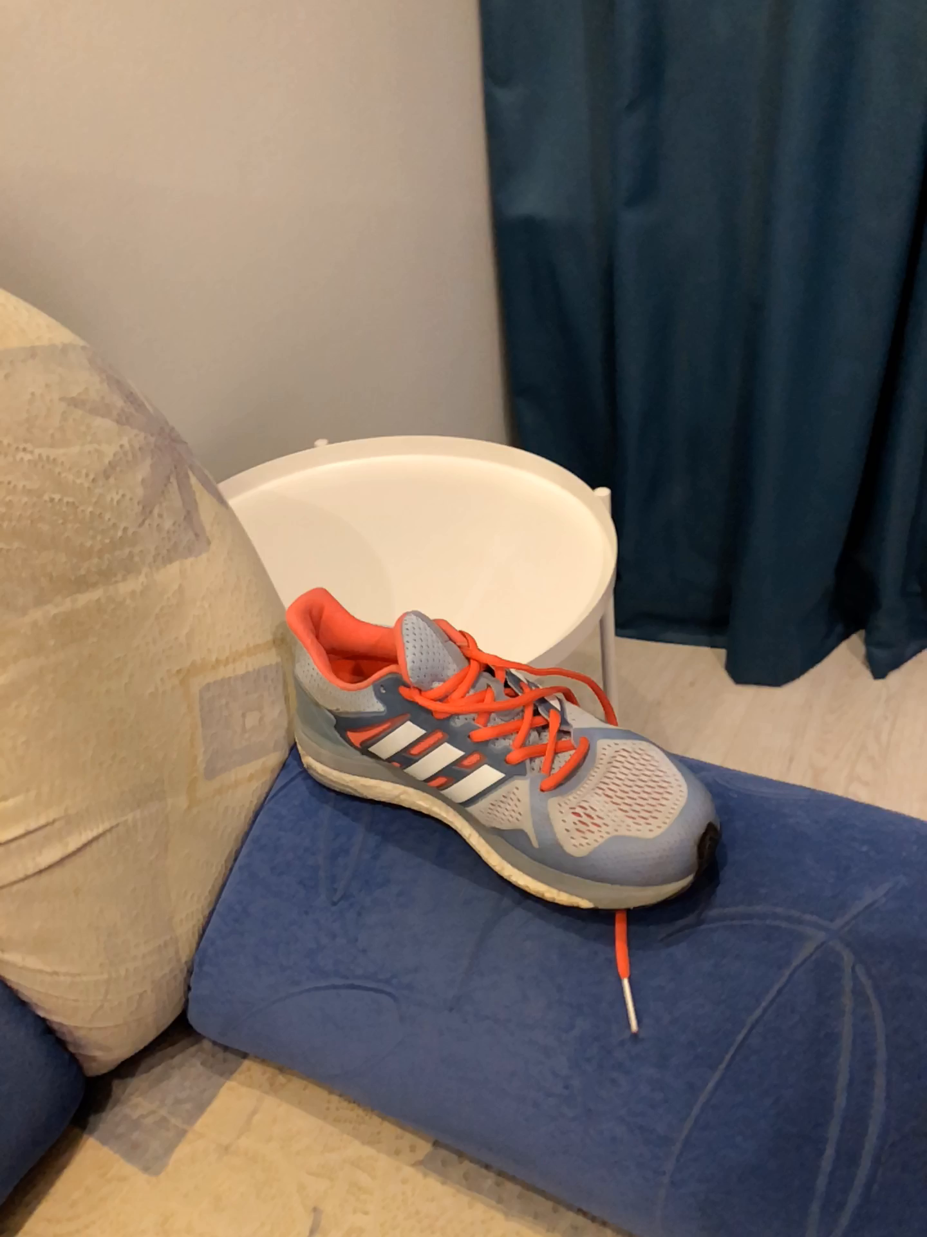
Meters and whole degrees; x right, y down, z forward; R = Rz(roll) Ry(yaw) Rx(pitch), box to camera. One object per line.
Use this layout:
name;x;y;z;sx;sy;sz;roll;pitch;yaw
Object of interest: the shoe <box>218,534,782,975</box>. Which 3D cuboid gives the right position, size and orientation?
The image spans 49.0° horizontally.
shoe;0.015;0.058;0.545;0.271;0.109;0.108;18;43;30
